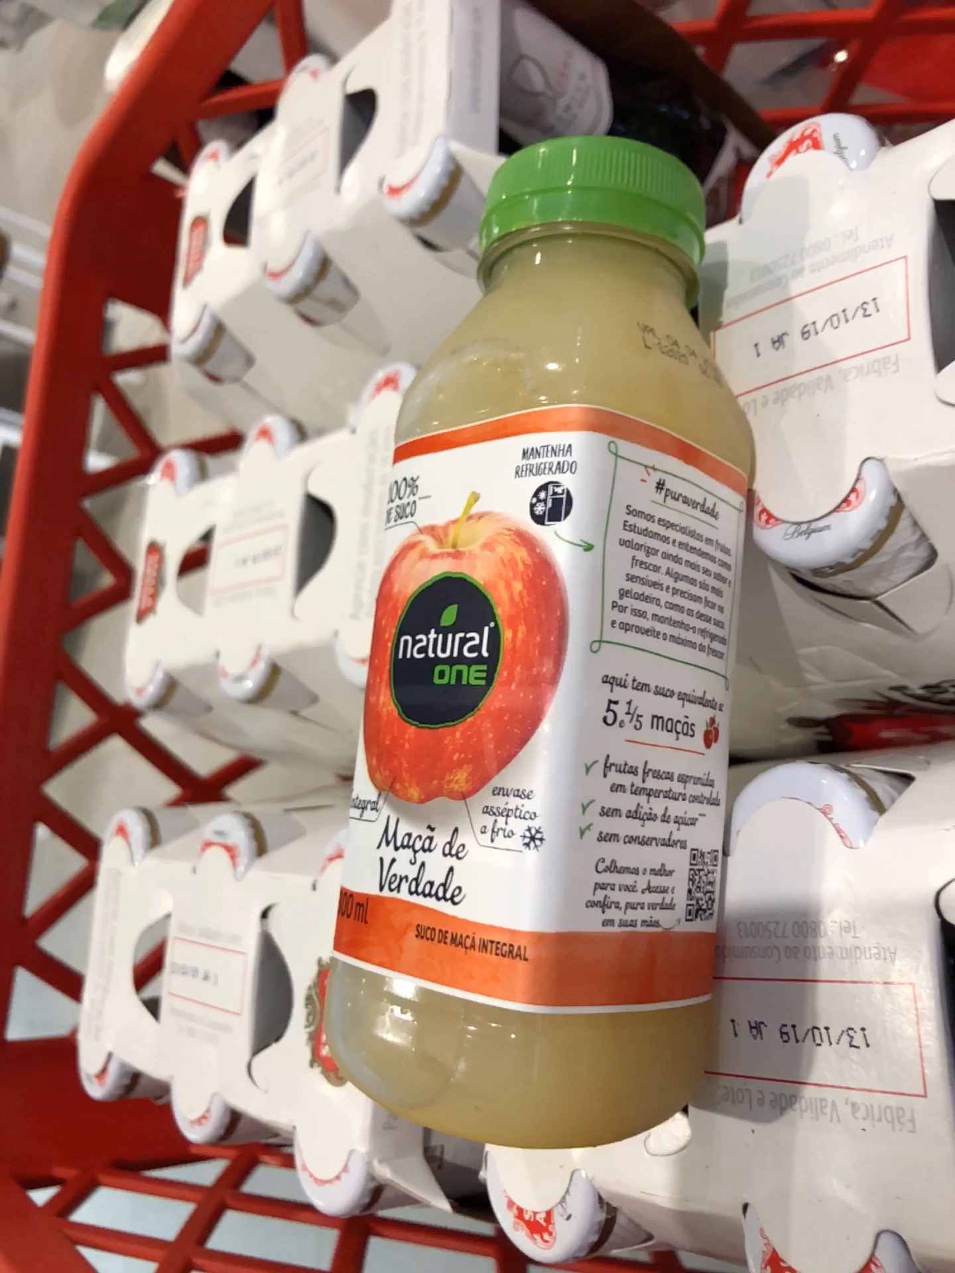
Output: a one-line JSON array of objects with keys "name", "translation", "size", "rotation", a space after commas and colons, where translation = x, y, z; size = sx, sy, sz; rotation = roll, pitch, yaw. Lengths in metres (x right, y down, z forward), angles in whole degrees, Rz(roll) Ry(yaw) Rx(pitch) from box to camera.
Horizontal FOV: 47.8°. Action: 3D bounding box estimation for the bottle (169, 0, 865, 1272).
[{"name": "bottle", "translation": [0.009, -0.011, 0.173], "size": [0.060, 0.060, 0.180], "rotation": [0, 77, 49]}]
